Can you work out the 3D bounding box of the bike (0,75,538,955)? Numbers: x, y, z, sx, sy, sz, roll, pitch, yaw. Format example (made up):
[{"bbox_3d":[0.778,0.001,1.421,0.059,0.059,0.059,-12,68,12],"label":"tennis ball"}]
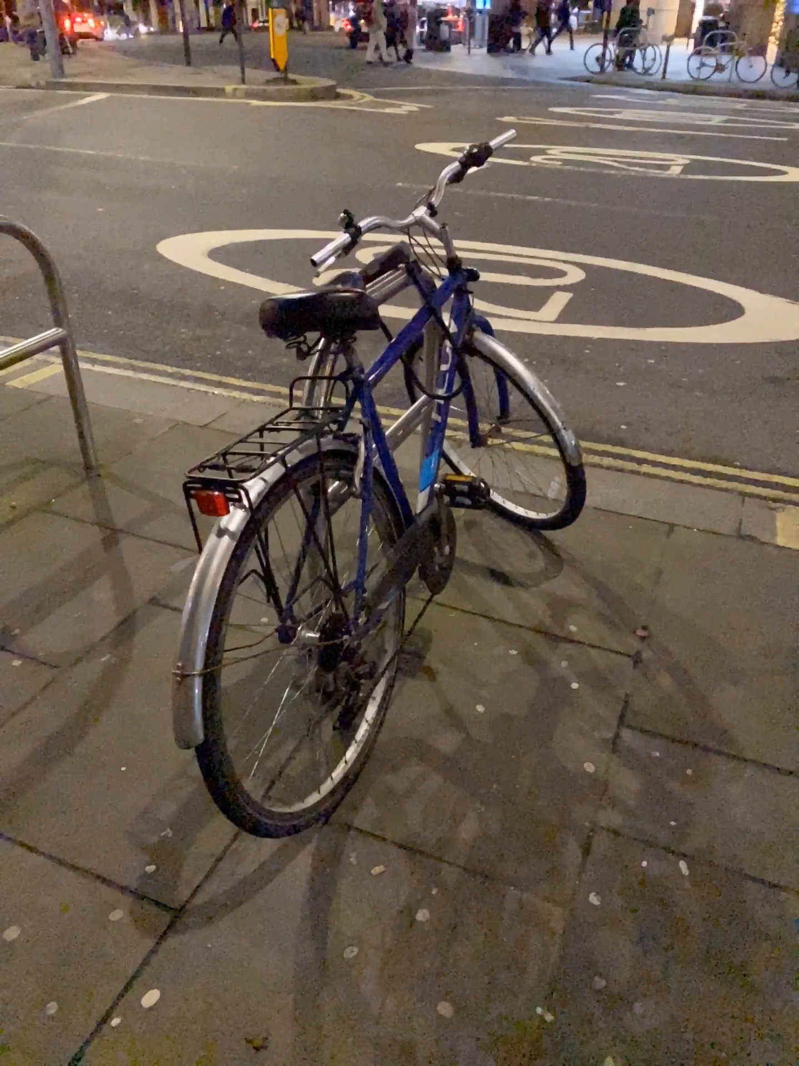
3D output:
[{"bbox_3d":[-0.142,-0.271,1.793,0.655,1.108,1.604,7,35,12],"label":"bike"}]
